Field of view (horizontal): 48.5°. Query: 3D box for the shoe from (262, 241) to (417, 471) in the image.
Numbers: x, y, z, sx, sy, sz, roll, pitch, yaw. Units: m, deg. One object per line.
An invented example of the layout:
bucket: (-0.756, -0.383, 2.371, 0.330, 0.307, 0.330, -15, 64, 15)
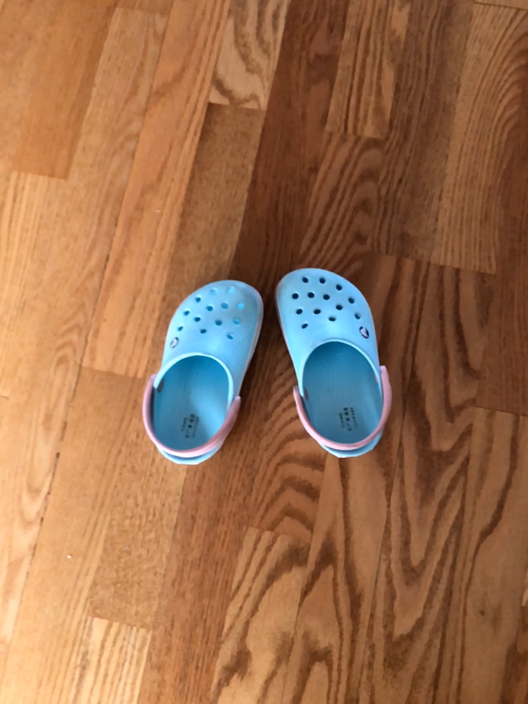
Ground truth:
shoe: (0.058, 0.005, 0.475, 0.083, 0.048, 0.165, -13, 79, 2)

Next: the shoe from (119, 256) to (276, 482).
shoe: (-0.050, 0.015, 0.485, 0.083, 0.057, 0.165, 12, 81, 6)
